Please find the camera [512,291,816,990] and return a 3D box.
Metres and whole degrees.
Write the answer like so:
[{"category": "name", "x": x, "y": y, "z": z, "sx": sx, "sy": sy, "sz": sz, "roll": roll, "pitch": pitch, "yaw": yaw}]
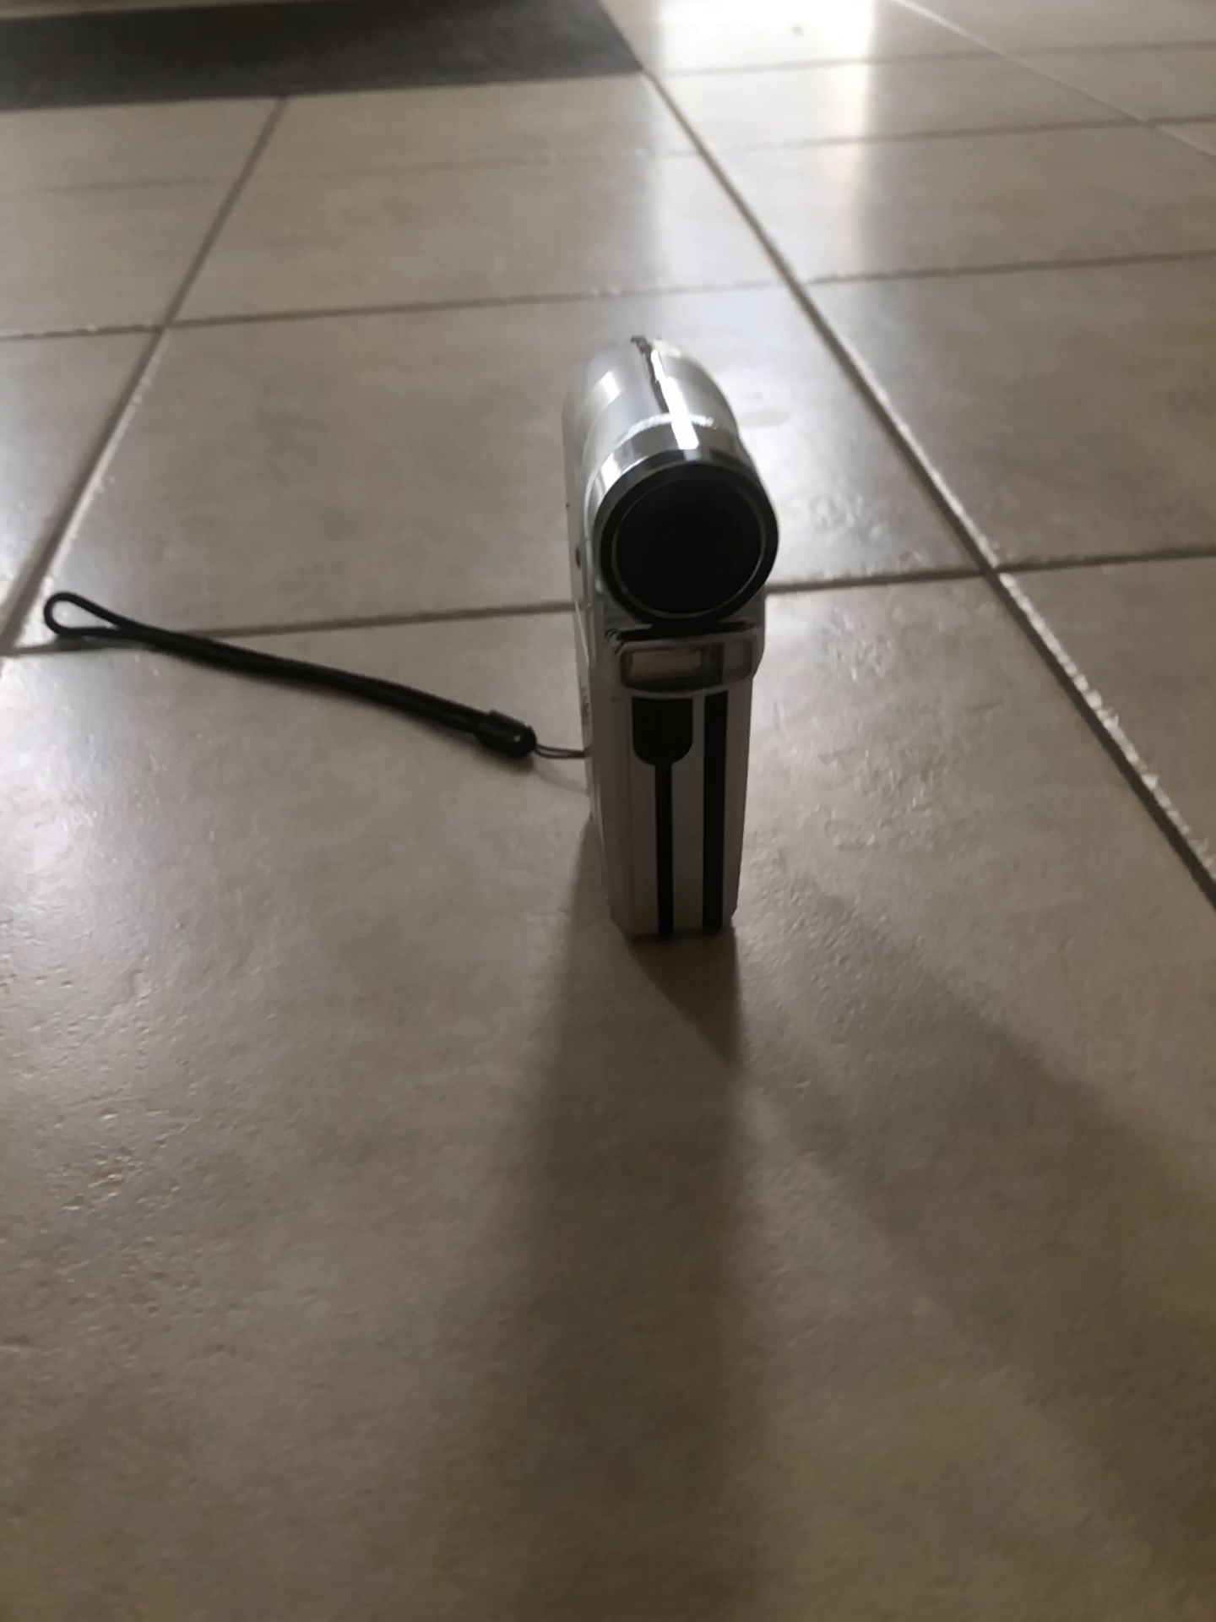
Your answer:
[{"category": "camera", "x": 0.009, "y": -0.034, "z": 0.270, "sx": 0.040, "sy": 0.109, "sz": 0.080, "roll": -7, "pitch": 37, "yaw": -5}]
